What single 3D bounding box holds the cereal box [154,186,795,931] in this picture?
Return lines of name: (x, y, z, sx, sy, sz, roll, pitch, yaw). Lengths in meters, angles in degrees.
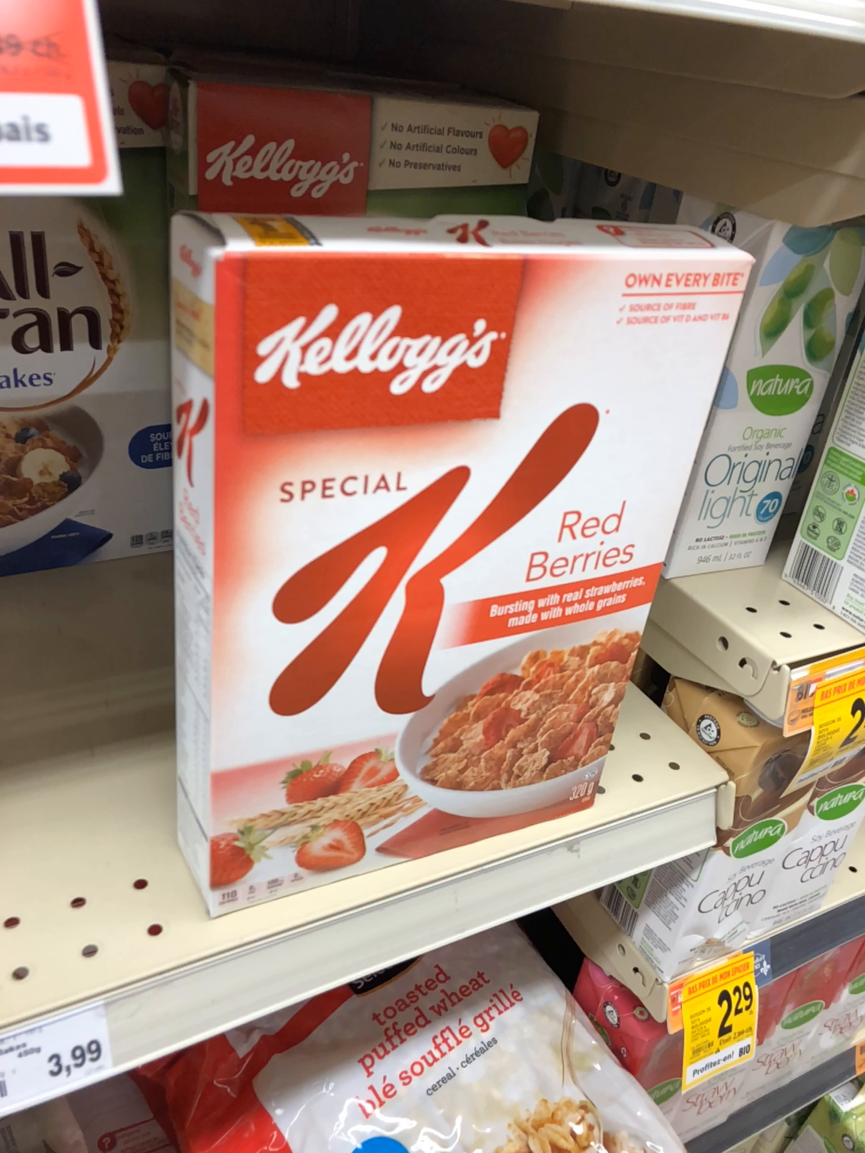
cereal box: (0.003, 0.000, 0.386, 0.210, 0.278, 0.060, -9, 36, -26)
